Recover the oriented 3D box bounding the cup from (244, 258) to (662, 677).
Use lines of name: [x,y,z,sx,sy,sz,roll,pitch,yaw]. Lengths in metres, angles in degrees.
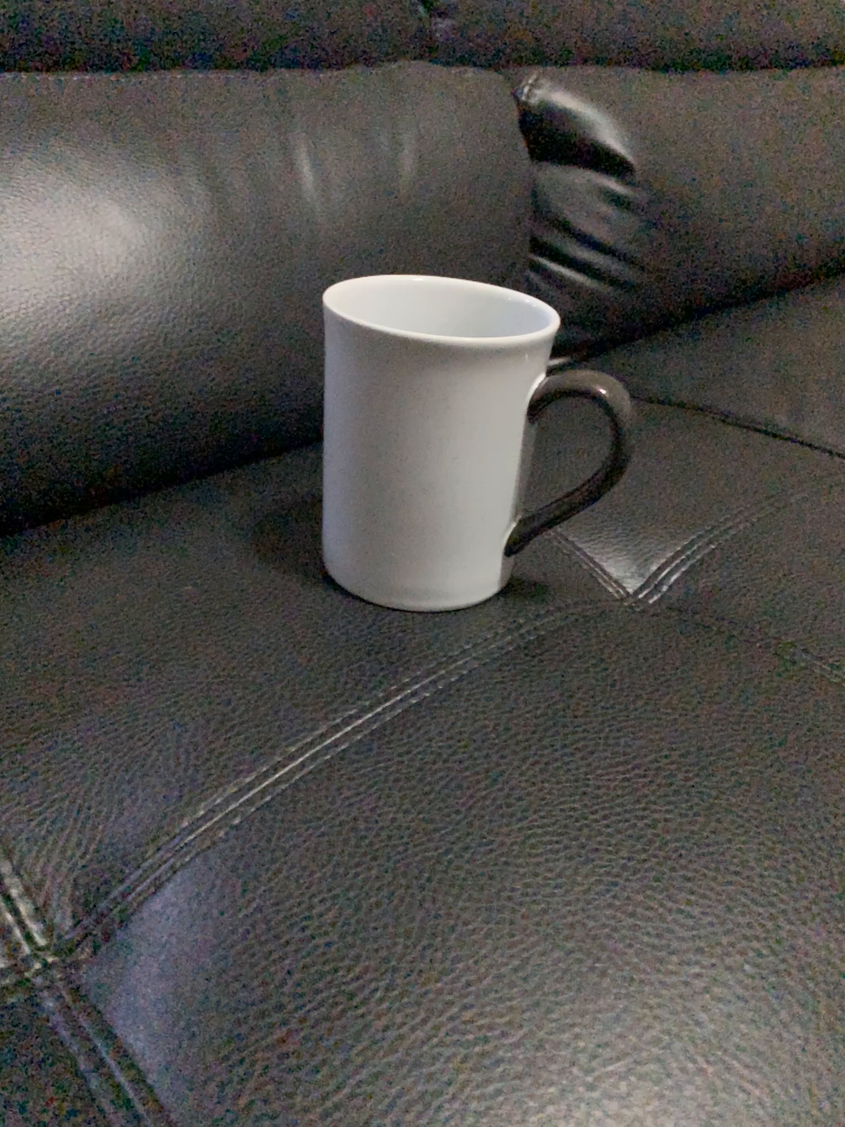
cup: [0.011,-0.046,0.340,0.124,0.115,0.093,15,30,22]
